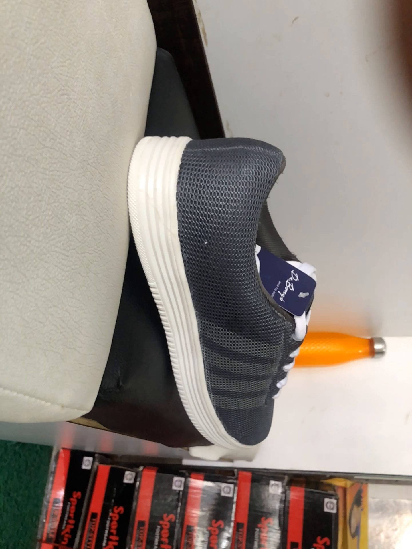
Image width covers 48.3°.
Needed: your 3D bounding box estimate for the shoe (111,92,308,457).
[{"bbox_3d":[0.028,0.025,0.375,0.100,0.100,0.301,-79,163,-47],"label":"shoe"}]
